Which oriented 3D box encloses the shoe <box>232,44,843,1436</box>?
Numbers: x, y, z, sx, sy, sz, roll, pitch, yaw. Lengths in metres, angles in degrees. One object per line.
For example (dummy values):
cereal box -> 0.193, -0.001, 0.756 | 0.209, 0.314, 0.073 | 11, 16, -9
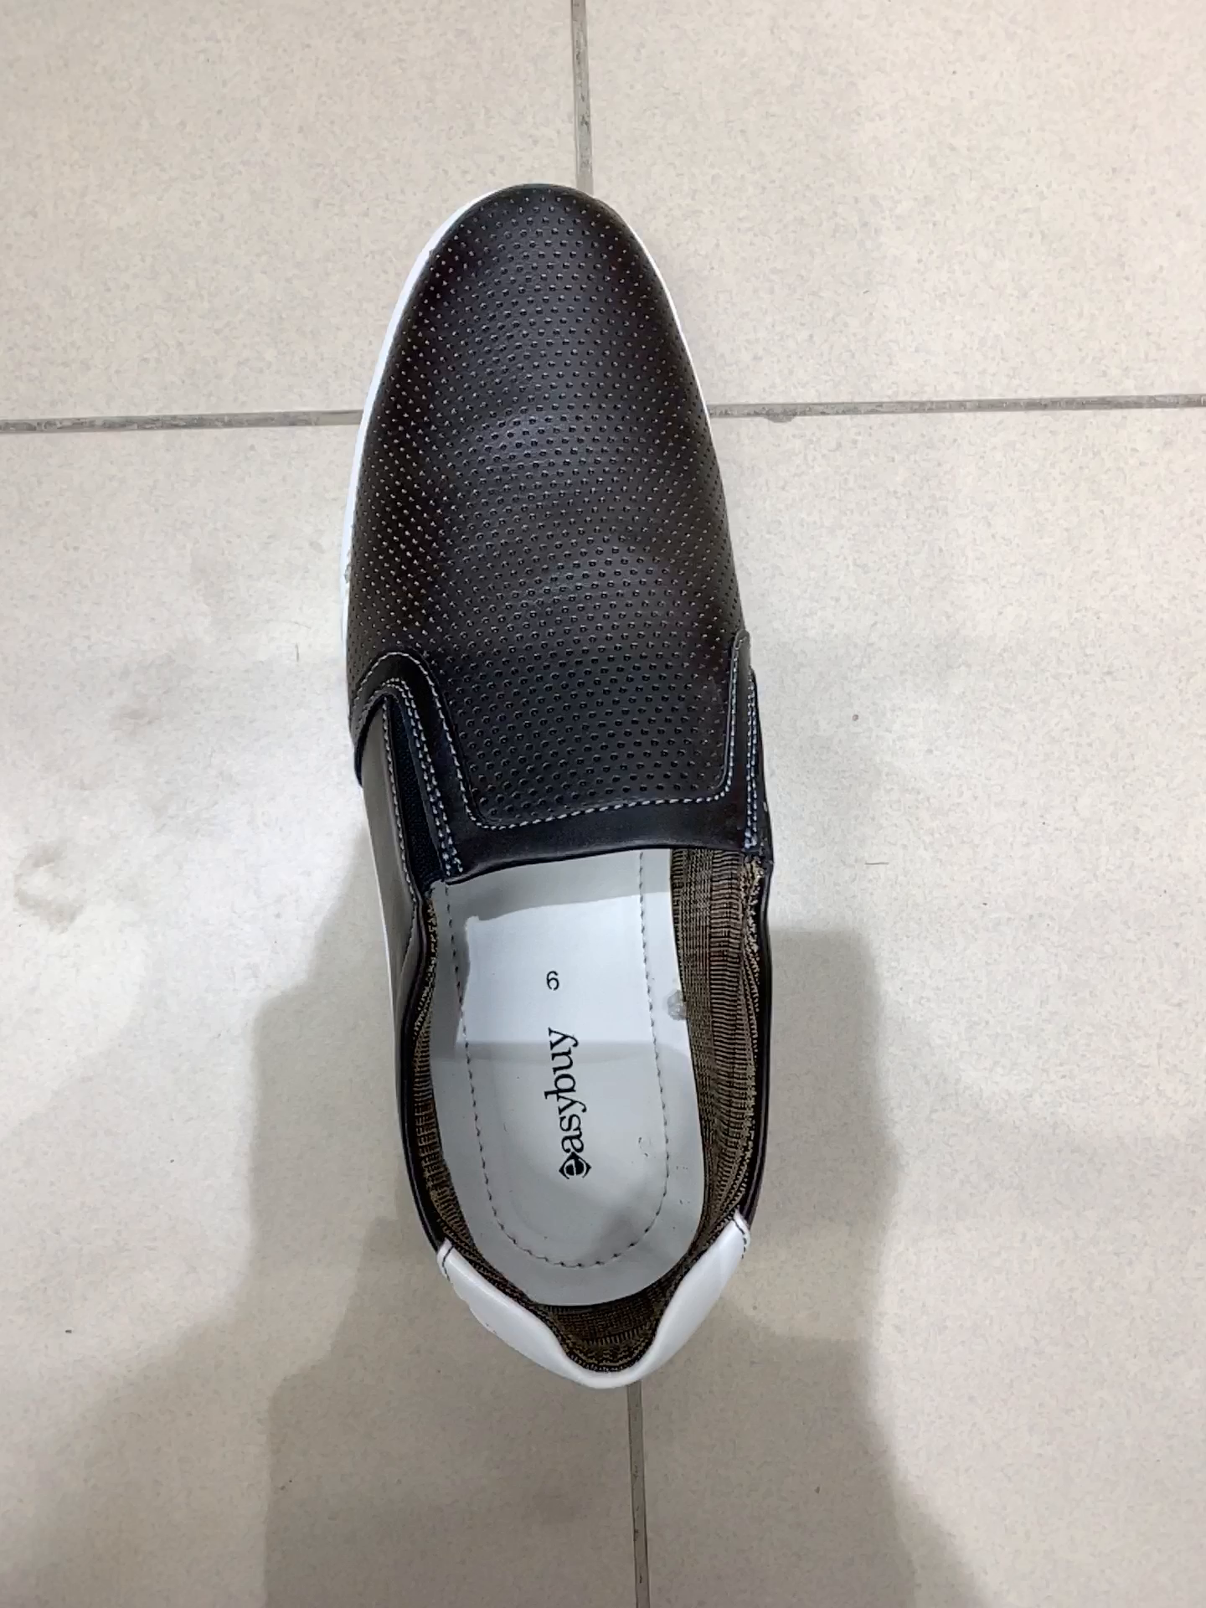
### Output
shoe -> -0.016, -0.015, 0.319 | 0.110, 0.090, 0.300 | -5, 90, -2
